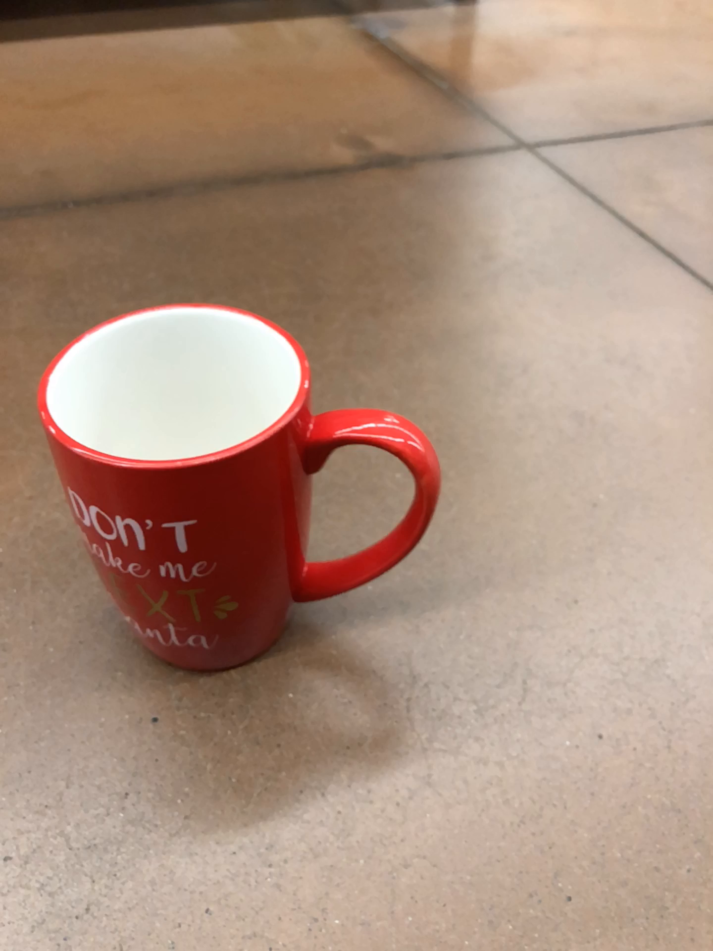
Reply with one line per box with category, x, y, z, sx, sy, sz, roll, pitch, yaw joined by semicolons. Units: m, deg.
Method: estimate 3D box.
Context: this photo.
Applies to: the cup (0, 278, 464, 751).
cup;-0.038;0.015;0.303;0.130;0.130;0.090;11;44;10
